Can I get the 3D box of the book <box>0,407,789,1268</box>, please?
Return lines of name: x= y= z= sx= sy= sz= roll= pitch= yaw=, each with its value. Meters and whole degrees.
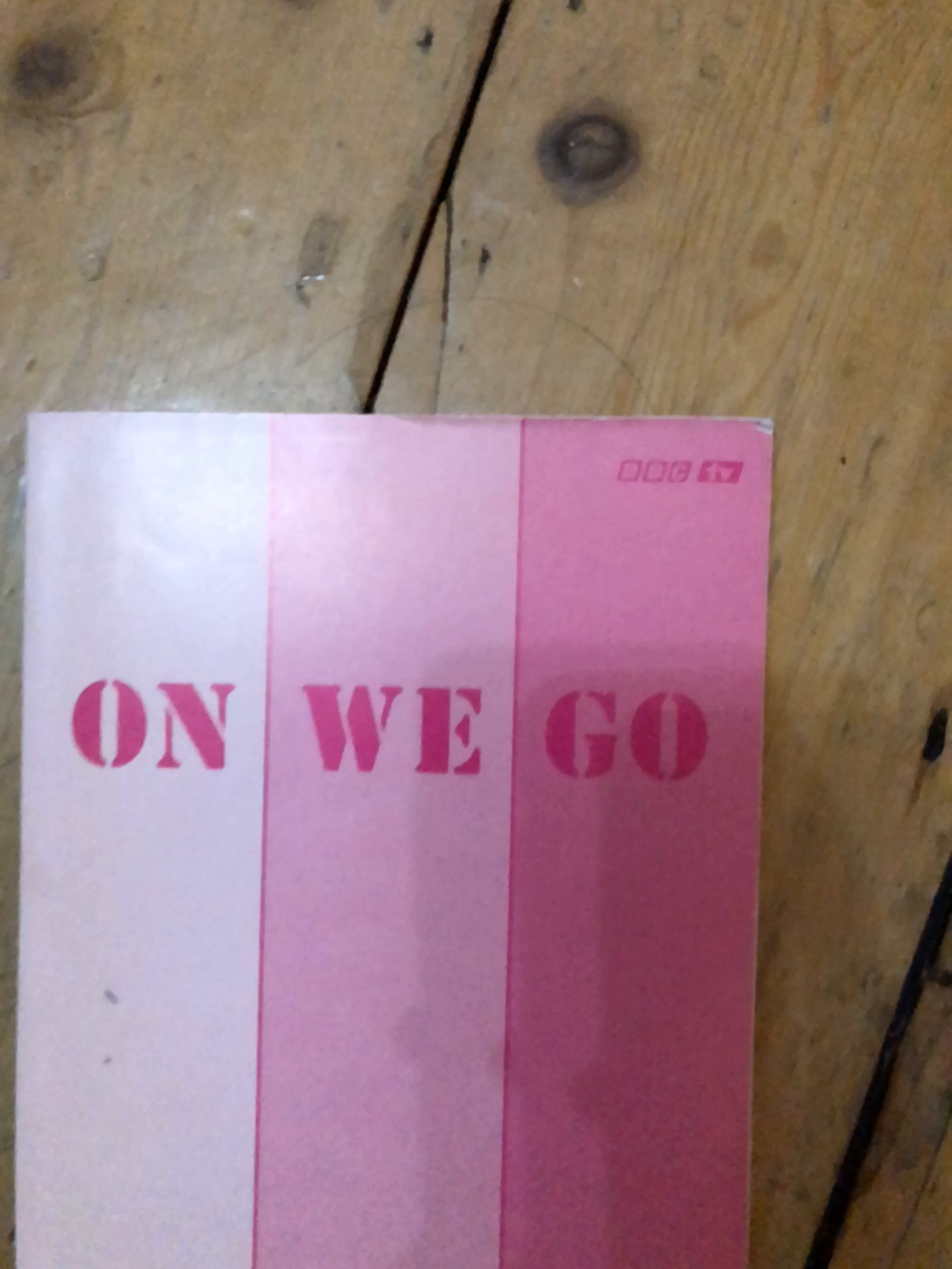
book: x=-0.019 y=0.065 z=0.225 sx=0.160 sy=0.020 sz=0.220 roll=1 pitch=91 yaw=1
